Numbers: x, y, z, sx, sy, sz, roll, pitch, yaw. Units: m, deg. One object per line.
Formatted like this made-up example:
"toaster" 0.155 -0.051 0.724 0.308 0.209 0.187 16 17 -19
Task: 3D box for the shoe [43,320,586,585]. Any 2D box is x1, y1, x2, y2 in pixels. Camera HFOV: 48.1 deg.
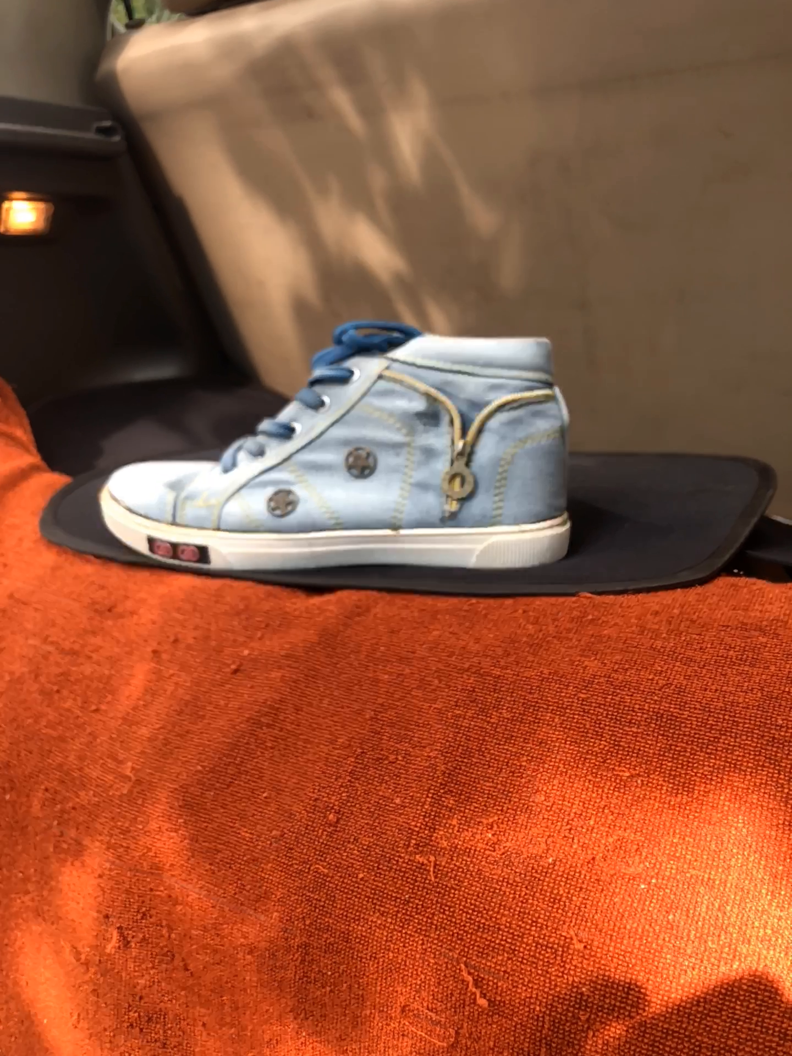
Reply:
"shoe" -0.034 -0.048 0.478 0.260 0.110 0.110 2 18 14
